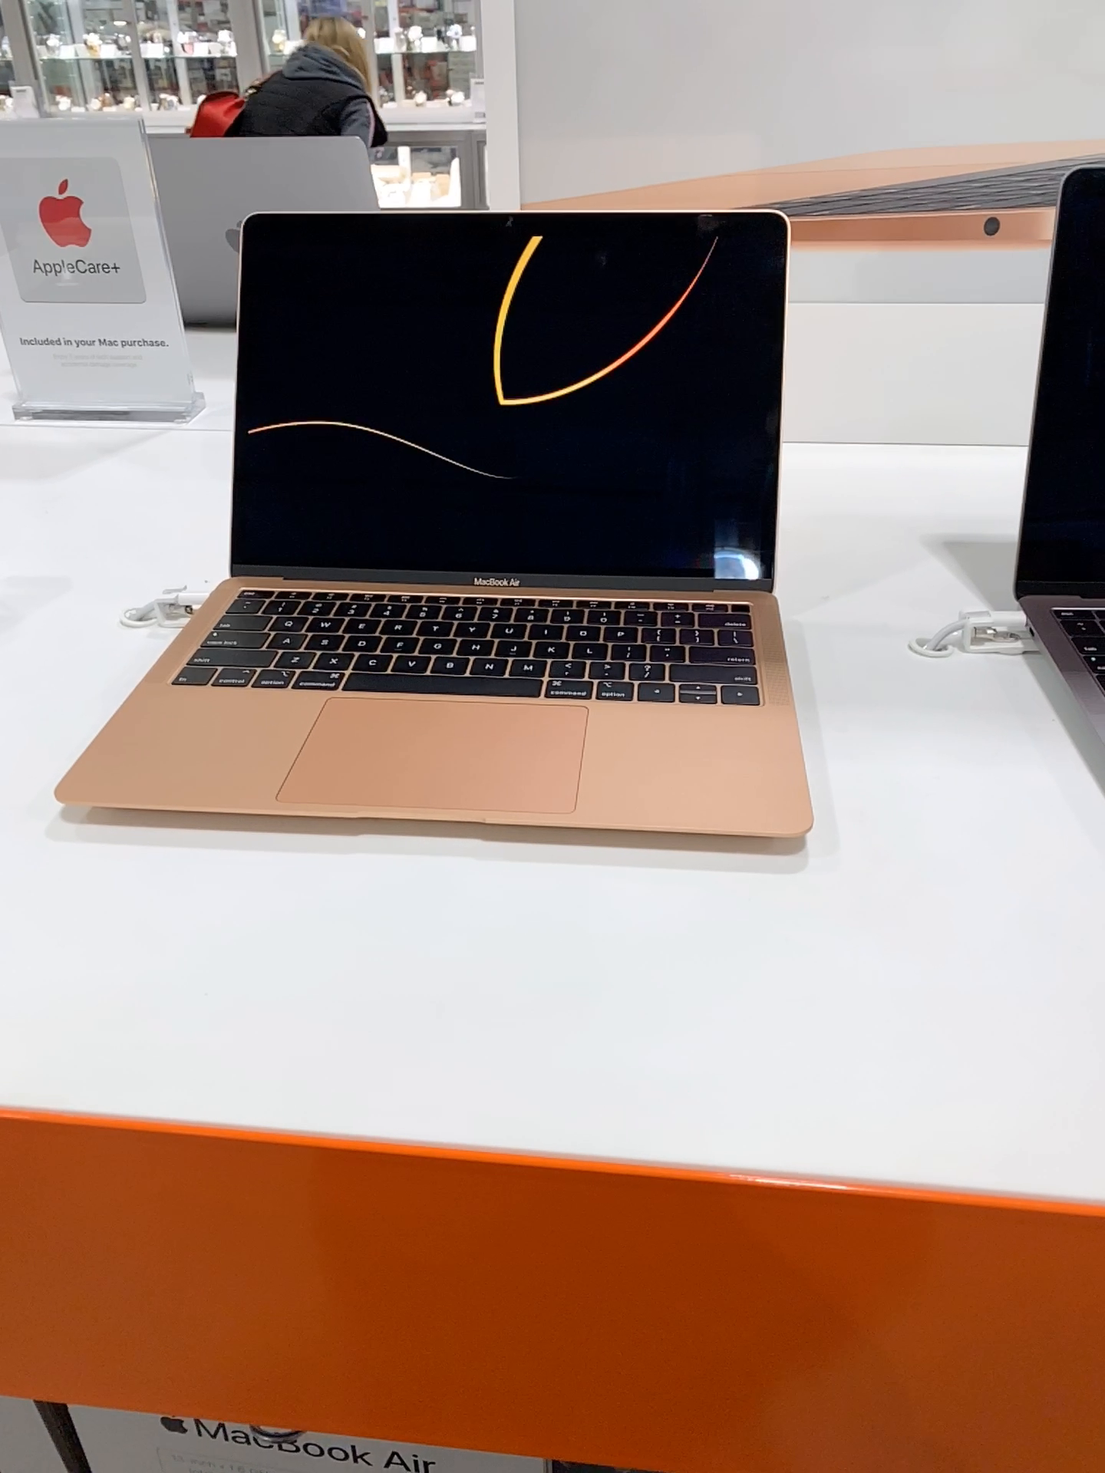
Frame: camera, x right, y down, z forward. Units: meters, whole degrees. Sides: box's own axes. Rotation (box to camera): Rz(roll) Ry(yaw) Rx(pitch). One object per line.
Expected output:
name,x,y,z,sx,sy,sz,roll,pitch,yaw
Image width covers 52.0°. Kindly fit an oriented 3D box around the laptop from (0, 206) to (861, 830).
laptop,-0.038,-0.128,0.524,0.293,0.170,0.311,2,33,5
